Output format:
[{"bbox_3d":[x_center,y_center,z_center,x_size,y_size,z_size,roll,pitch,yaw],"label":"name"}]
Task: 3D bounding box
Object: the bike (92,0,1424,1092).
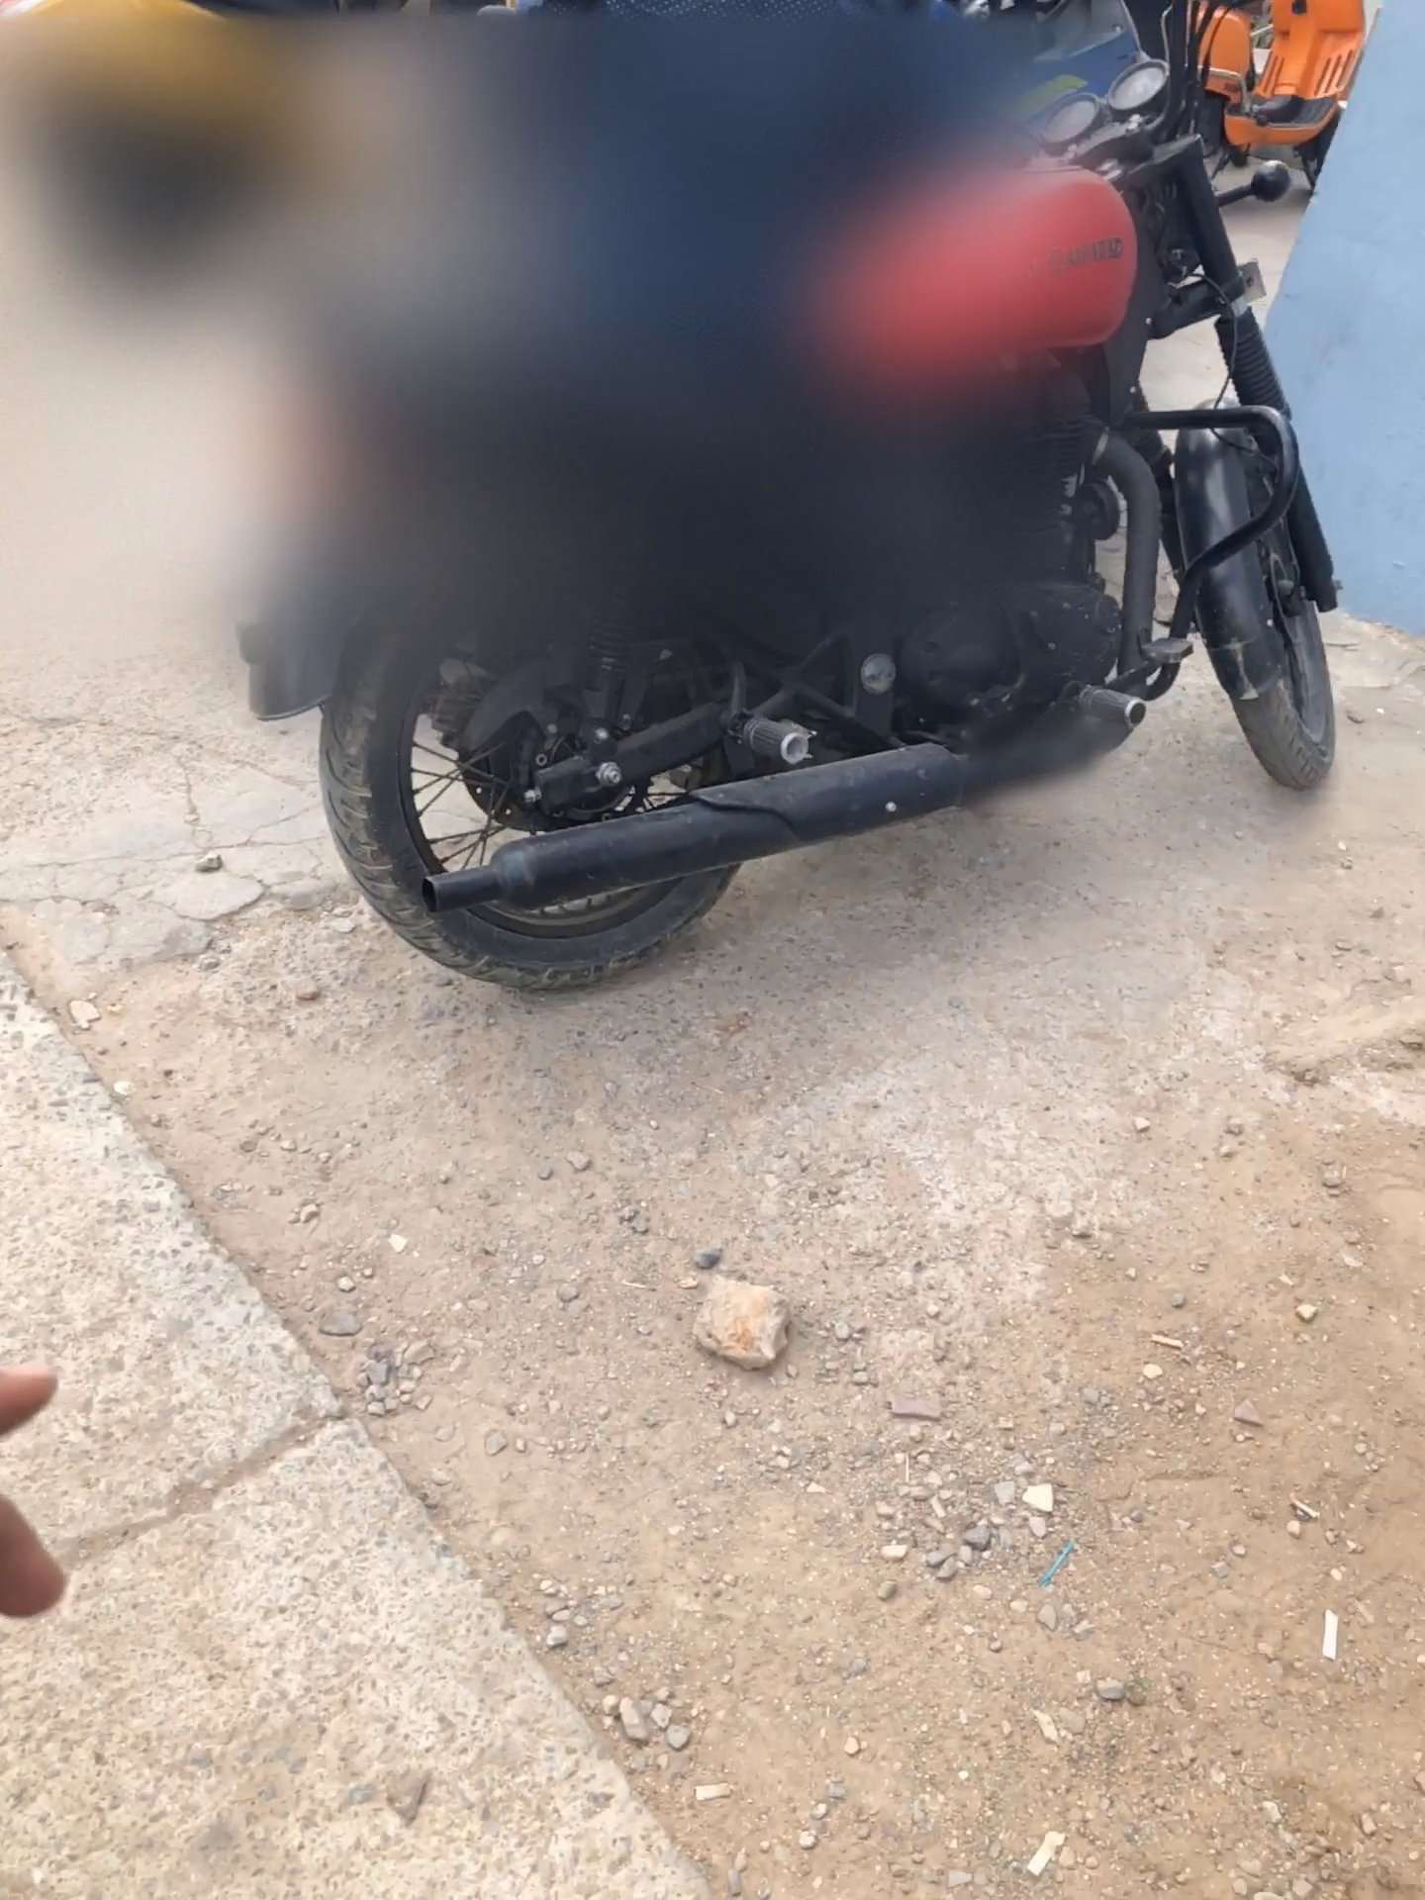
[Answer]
[{"bbox_3d":[0.143,-0.851,2.058,1.545,1.245,0.778,-24,49,-28],"label":"bike"}]
